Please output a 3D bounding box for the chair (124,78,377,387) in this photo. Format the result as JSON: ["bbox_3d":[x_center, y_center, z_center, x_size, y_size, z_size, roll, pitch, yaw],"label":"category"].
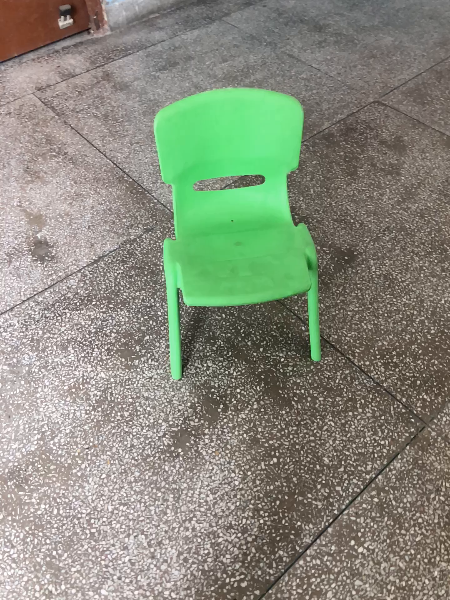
[{"bbox_3d":[0.020,-0.125,1.033,0.370,0.459,0.391,-7,53,-5],"label":"chair"}]
